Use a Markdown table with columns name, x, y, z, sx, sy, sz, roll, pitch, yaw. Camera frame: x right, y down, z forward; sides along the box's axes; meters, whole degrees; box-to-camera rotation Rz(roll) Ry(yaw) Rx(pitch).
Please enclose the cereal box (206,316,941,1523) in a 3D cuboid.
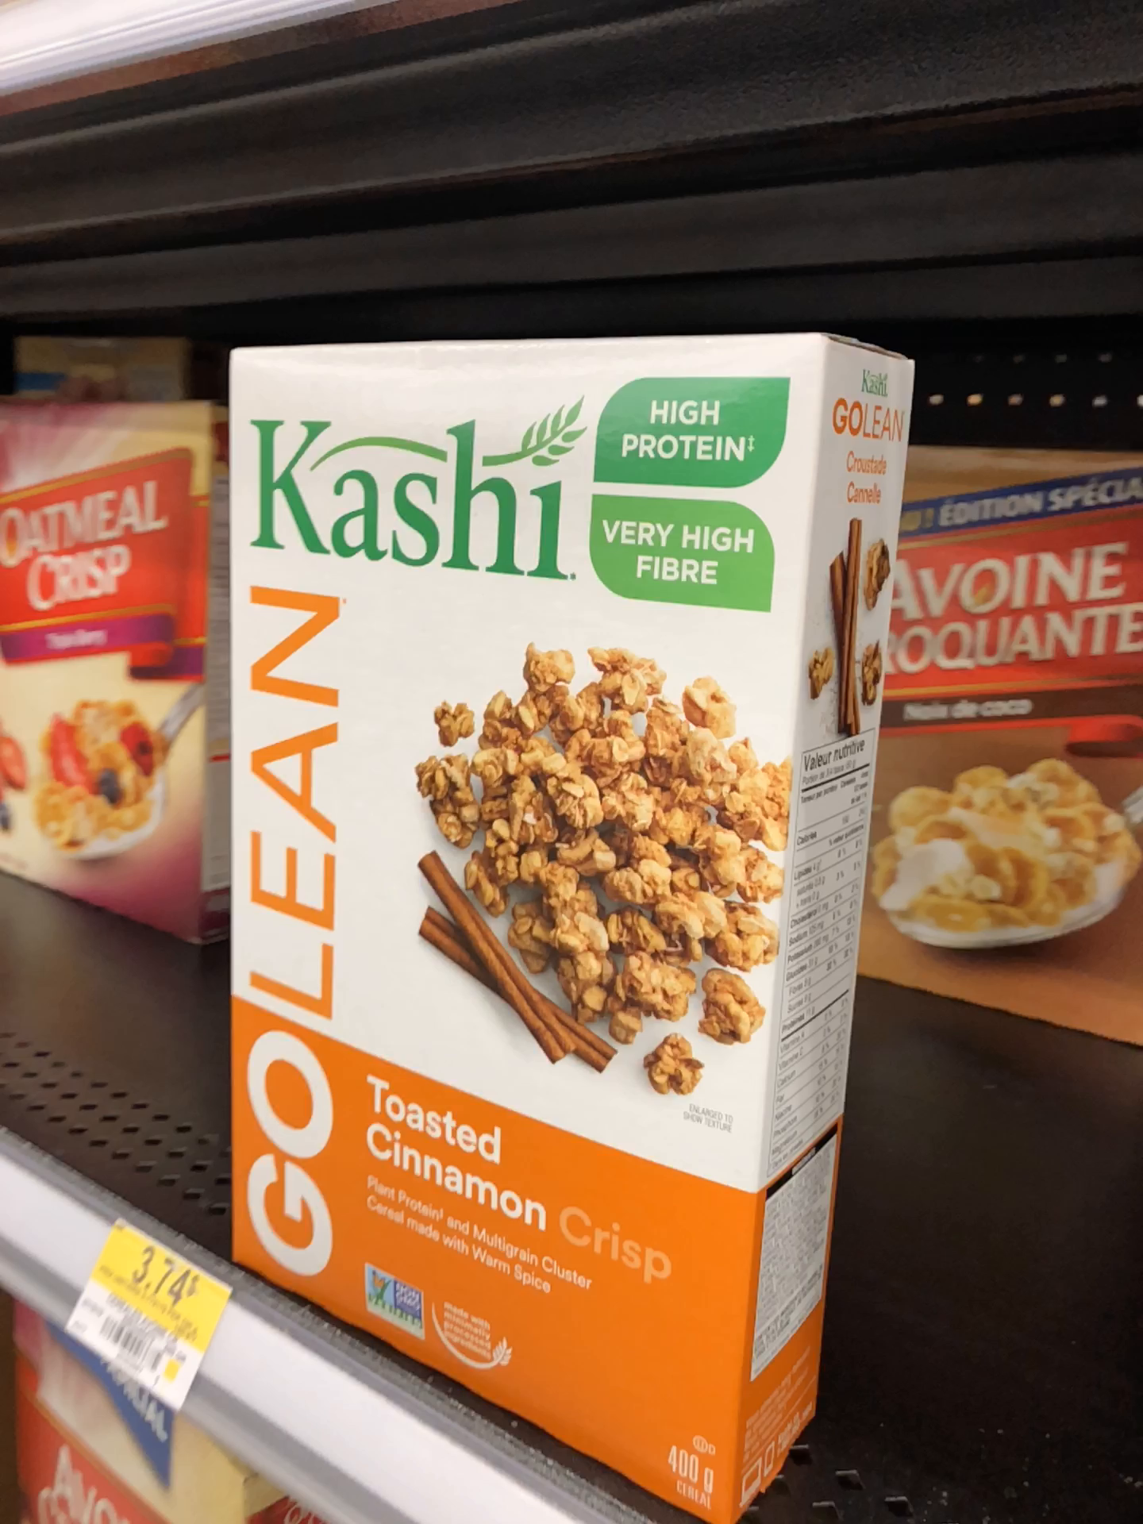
| name | x | y | z | sx | sy | sz | roll | pitch | yaw |
| --- | --- | --- | --- | --- | --- | --- | --- | --- | --- |
| cereal box | -0.013 | 0.026 | 0.314 | 0.170 | 0.249 | 0.050 | 11 | 14 | 34 |
